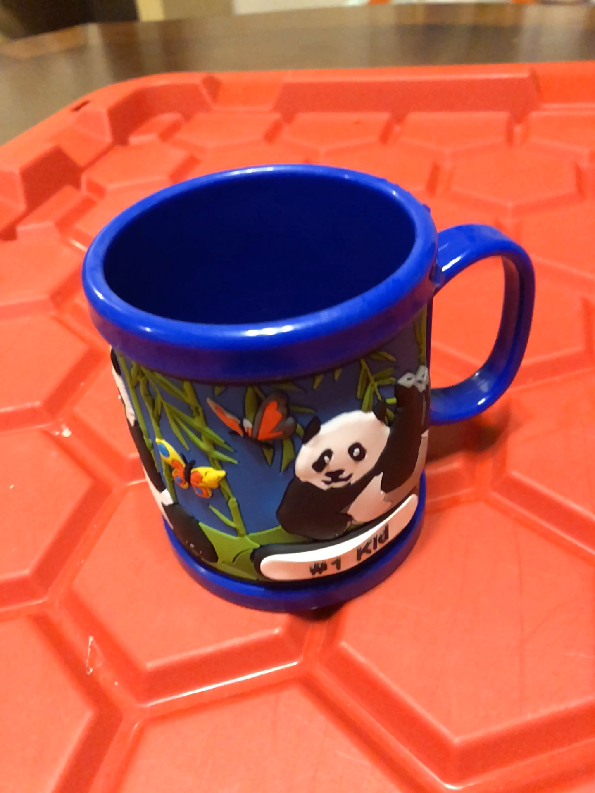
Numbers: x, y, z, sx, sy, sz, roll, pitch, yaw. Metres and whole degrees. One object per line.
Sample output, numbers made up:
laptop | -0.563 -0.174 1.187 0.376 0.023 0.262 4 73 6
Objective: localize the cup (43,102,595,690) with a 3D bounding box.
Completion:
cup | 0.010 -0.006 0.184 0.120 0.099 0.091 -17 42 -12
